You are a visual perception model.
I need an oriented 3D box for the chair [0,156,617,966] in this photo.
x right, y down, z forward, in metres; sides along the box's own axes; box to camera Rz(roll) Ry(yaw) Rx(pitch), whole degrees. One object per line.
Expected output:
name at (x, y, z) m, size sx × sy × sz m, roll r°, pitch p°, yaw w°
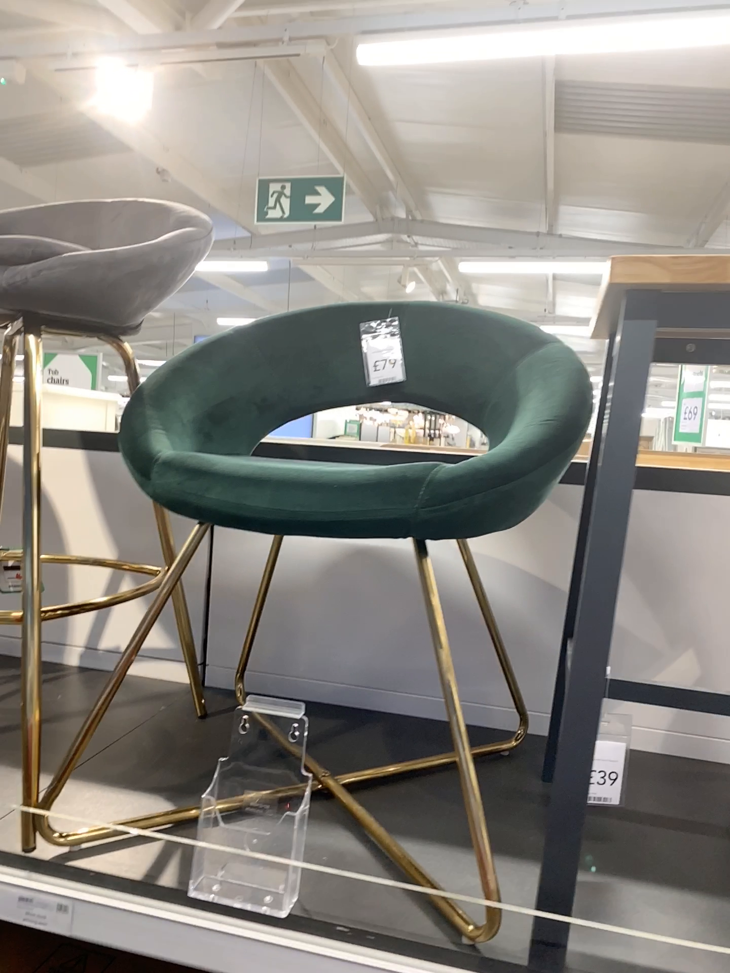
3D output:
chair at (-0.025, 0.032, 1.047) m, size 0.634 × 0.700 × 0.669 m, roll 4°, pitch 3°, yaw 15°
